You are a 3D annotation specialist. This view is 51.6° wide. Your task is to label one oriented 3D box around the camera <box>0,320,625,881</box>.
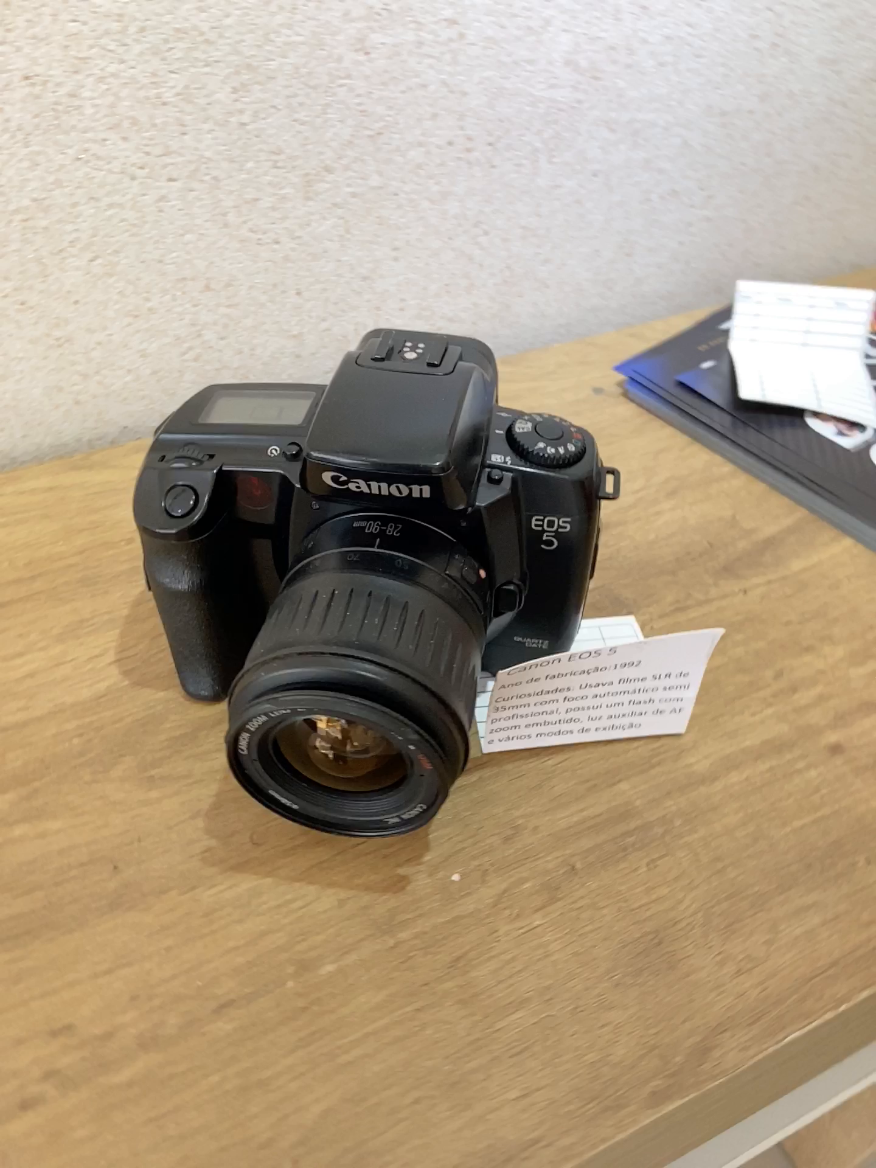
[{"bbox_3d":[-0.026,-0.008,0.314,0.160,0.080,0.181,4,43,5],"label":"camera"}]
